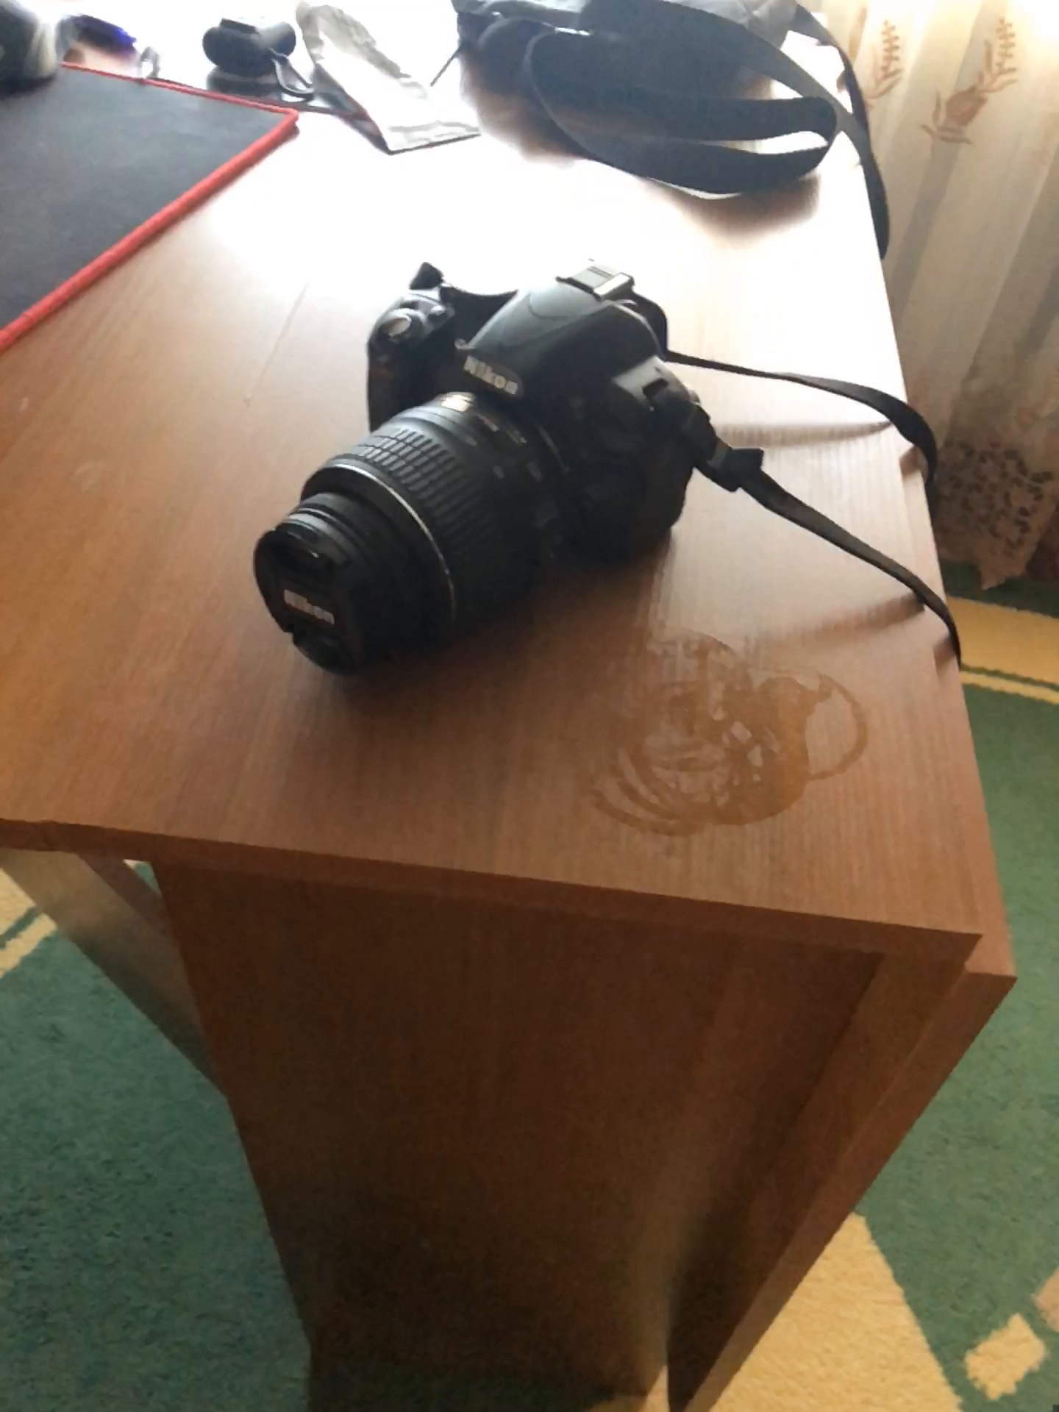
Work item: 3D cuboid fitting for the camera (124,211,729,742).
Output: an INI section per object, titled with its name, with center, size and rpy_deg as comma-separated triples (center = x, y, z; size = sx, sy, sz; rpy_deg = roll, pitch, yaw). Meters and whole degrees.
[camera]
center = -0.029, -0.087, 0.400
size = 0.111, 0.078, 0.162
rpy_deg = 33, 53, 24
